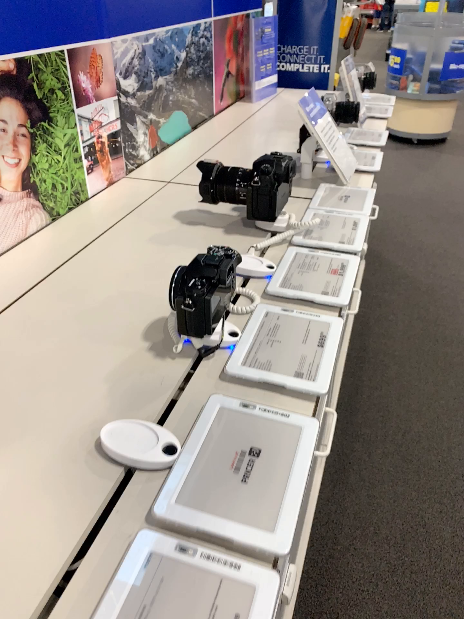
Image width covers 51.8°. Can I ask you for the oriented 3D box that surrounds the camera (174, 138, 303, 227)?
[{"bbox_3d":[0.016,-0.239,0.880,0.200,0.099,0.141,9,36,14],"label":"camera"}]

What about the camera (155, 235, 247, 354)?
[{"bbox_3d":[-0.033,-0.023,0.588,0.070,0.080,0.131,9,36,14],"label":"camera"}]
